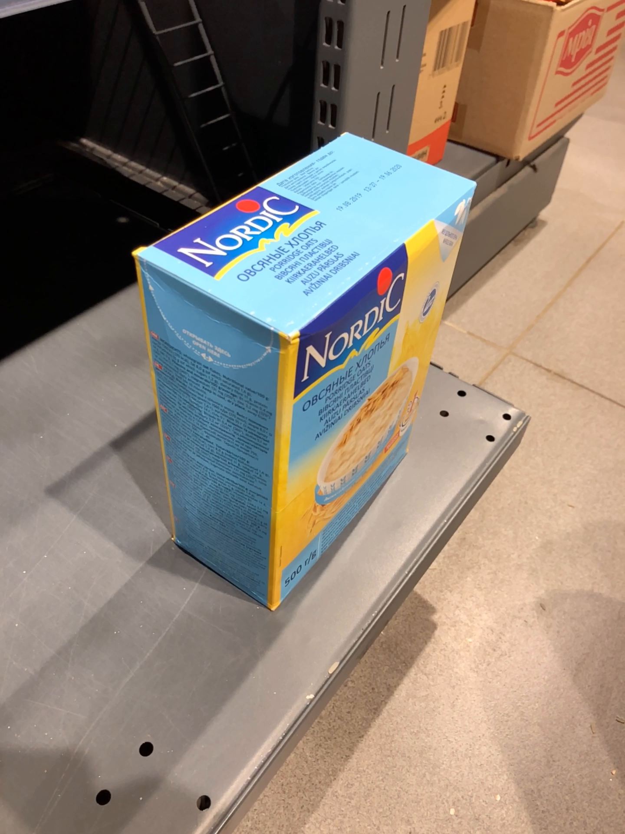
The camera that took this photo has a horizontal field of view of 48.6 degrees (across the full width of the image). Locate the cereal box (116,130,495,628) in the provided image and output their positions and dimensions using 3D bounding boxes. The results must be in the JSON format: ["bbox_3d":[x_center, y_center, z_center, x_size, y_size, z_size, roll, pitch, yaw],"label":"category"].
[{"bbox_3d":[0.000,-0.018,0.342,0.080,0.179,0.151,28,49,22],"label":"cereal box"}]
